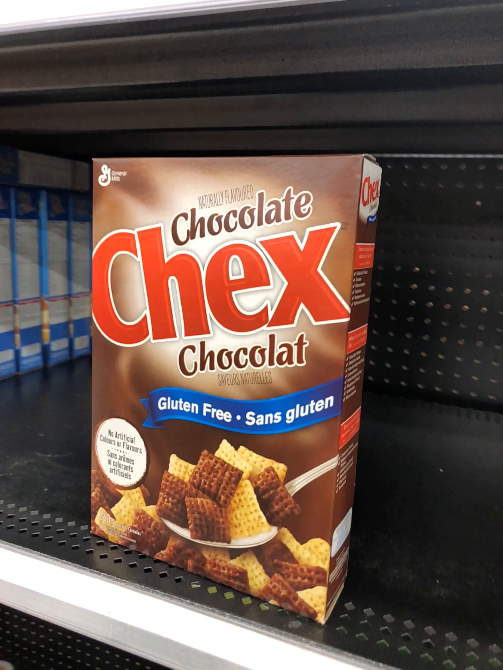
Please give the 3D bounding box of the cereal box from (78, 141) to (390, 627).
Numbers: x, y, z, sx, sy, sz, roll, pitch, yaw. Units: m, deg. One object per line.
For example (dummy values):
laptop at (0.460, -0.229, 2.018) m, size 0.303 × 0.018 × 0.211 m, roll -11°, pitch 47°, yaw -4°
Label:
cereal box at (-0.025, 0.021, 0.377) m, size 0.200 × 0.279 × 0.050 m, roll 8°, pitch 11°, yaw 27°
